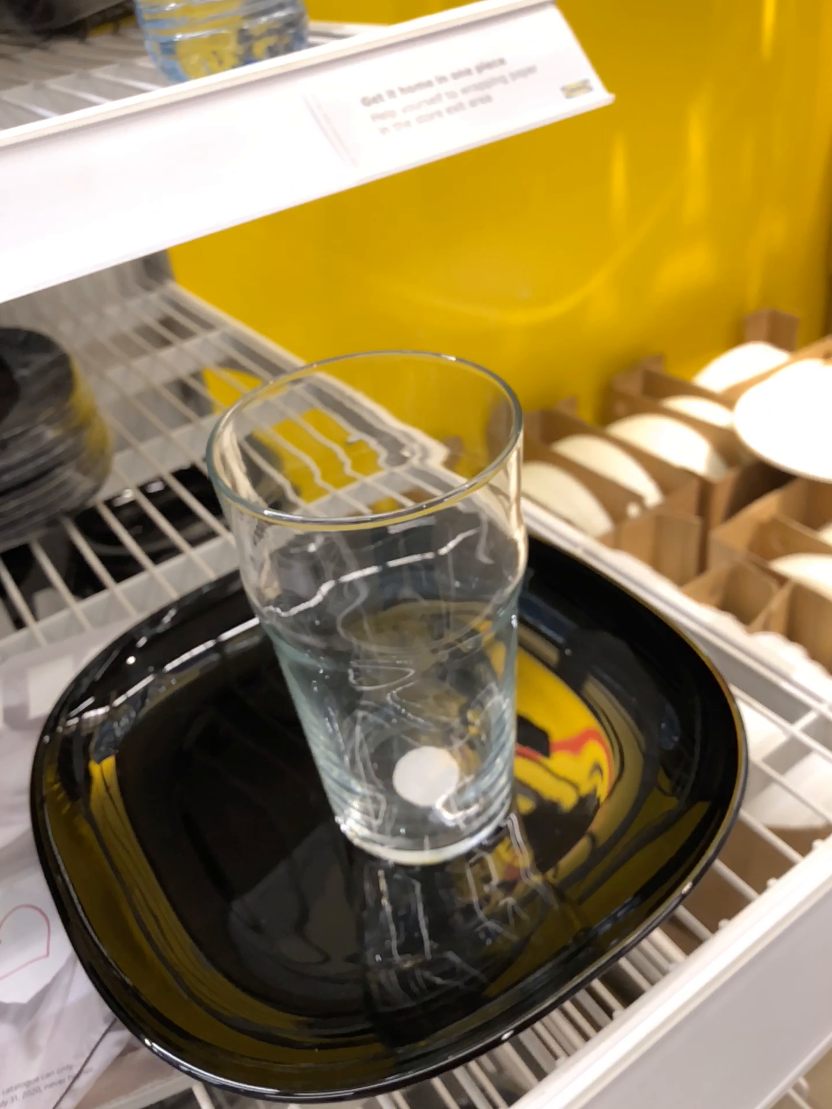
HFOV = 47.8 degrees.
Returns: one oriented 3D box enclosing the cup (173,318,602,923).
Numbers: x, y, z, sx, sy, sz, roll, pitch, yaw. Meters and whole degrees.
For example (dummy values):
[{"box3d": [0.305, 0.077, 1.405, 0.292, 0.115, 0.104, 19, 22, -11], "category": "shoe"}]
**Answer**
[{"box3d": [-0.006, 0.019, 0.288, 0.090, 0.139, 0.090, -6, 35, 4], "category": "cup"}]
